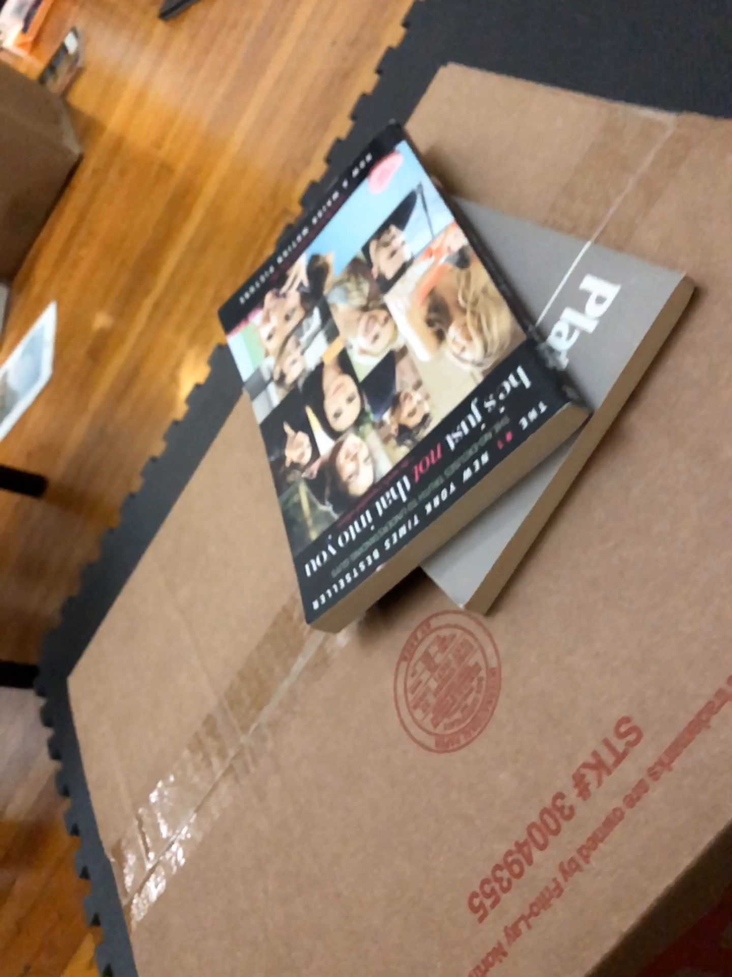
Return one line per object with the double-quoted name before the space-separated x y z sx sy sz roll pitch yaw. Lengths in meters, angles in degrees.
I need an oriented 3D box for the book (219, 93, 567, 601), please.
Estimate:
"book" -0.009 -0.081 0.402 0.150 0.010 0.231 -44 44 26
